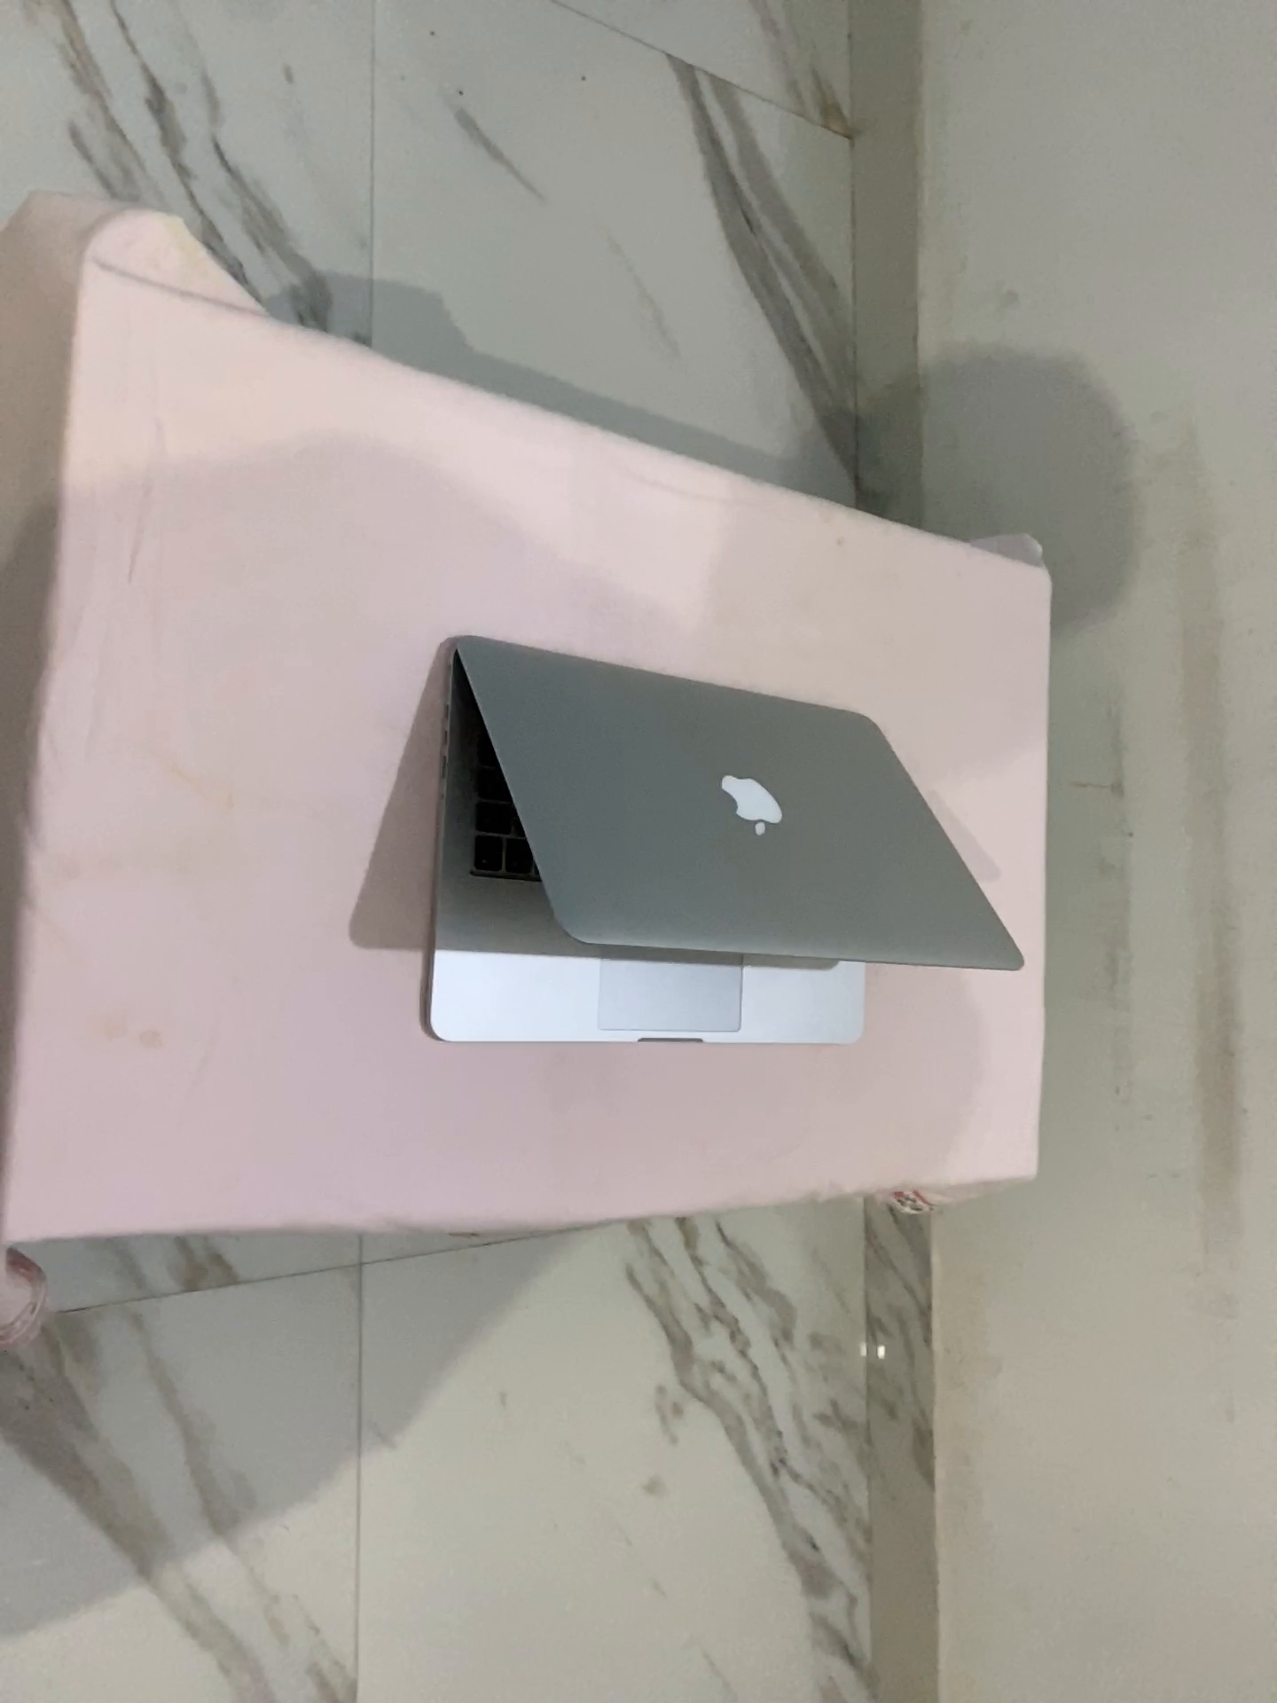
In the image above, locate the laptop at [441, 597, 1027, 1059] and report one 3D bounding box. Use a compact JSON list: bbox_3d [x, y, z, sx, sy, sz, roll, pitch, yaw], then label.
[{"bbox_3d":[0.062,0.003,0.724,0.298,0.138,0.208,6,85,-35],"label":"laptop"}]
